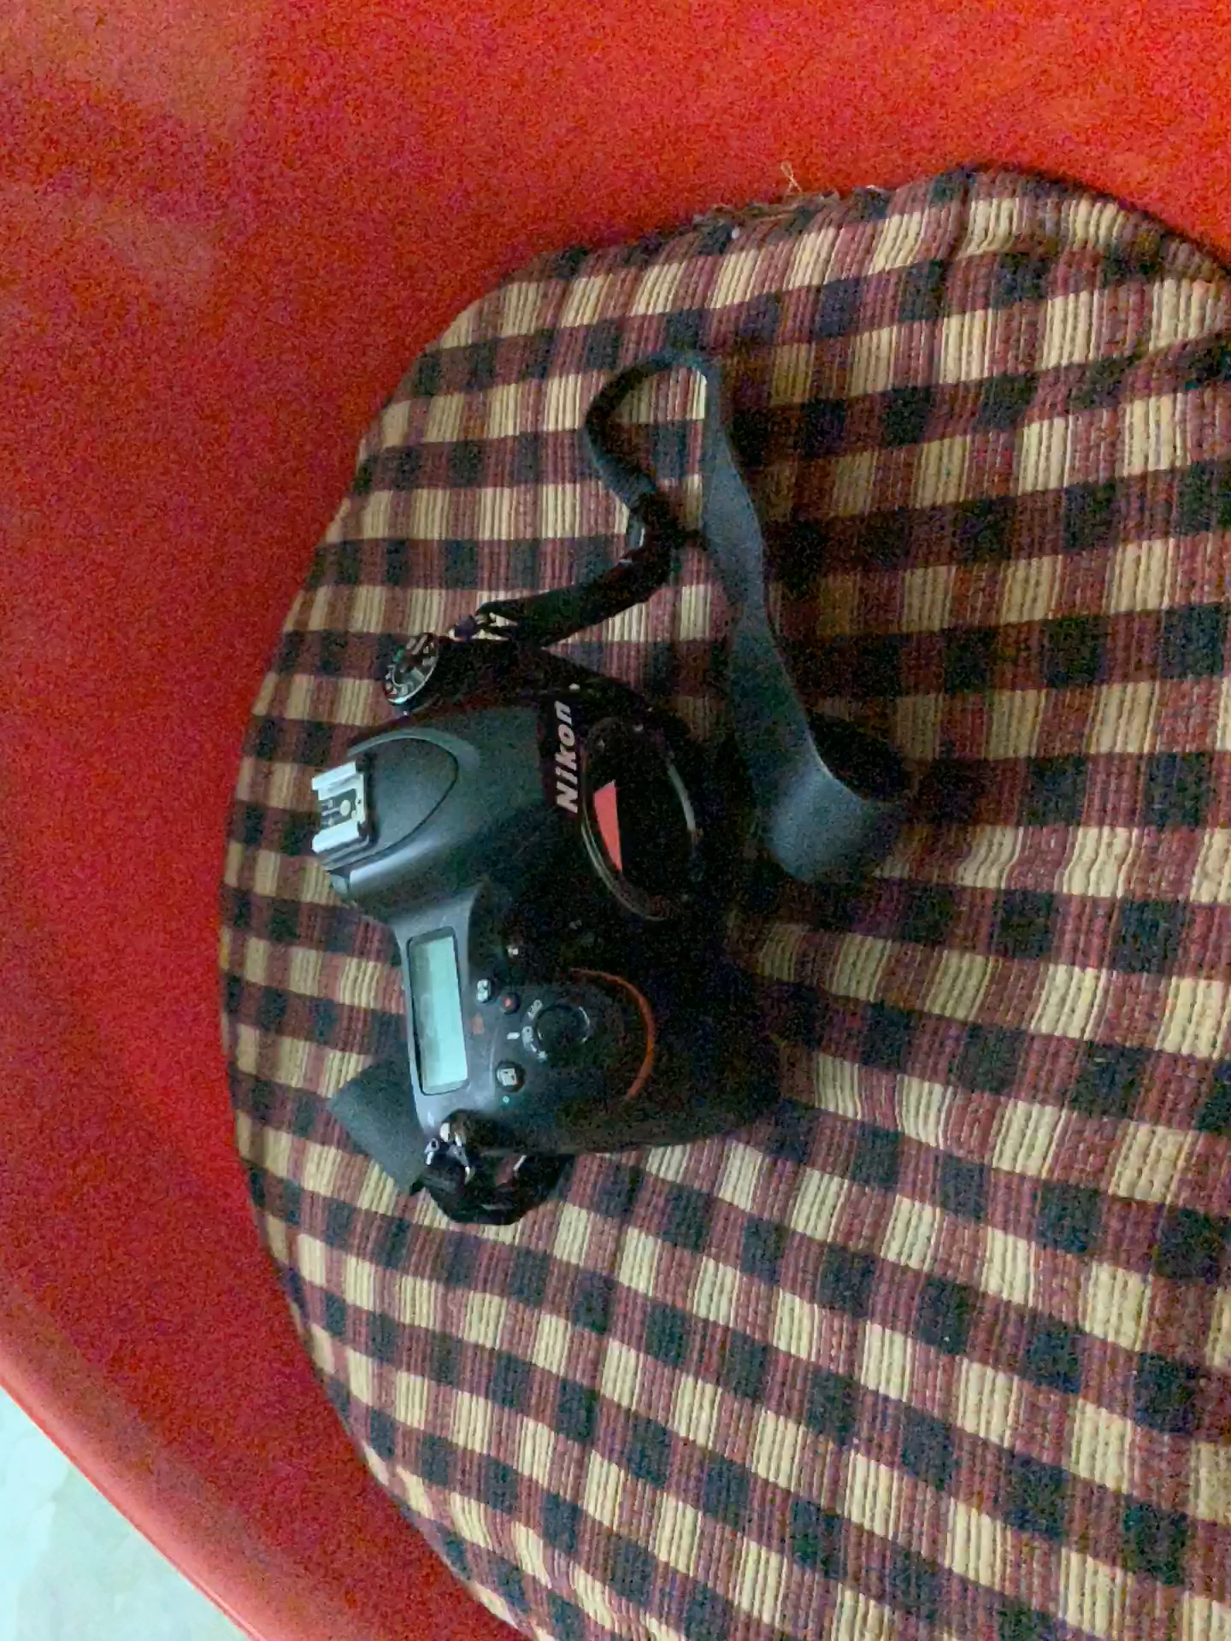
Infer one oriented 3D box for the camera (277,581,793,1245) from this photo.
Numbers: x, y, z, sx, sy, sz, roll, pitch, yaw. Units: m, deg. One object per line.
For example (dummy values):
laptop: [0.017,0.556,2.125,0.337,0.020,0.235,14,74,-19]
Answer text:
camera: [-0.020,0.025,0.326,0.080,0.090,0.140,-11,82,39]
